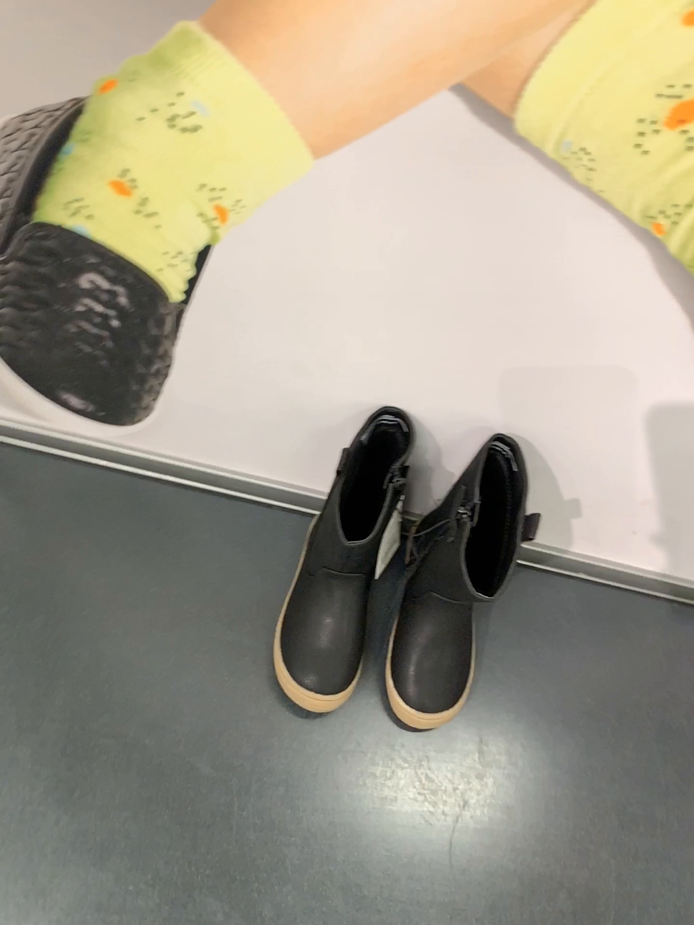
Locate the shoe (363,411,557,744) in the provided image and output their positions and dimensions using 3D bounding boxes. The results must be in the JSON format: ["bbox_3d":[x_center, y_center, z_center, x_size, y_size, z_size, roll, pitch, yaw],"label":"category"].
[{"bbox_3d":[0.085,0.100,0.569,0.080,0.199,0.191,14,59,-2],"label":"shoe"}]

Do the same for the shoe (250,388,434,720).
[{"bbox_3d":[-0.008,0.082,0.578,0.080,0.199,0.191,15,58,-1],"label":"shoe"}]
